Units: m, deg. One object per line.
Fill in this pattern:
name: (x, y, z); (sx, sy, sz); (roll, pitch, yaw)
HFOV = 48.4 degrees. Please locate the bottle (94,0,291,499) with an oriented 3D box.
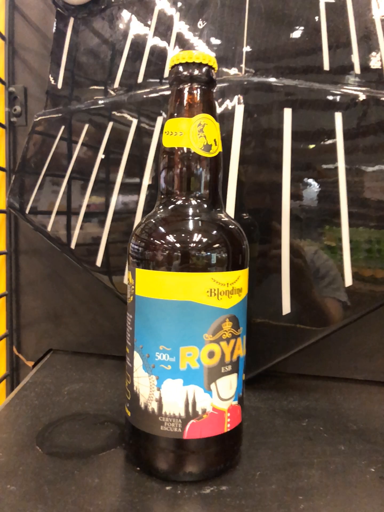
bottle: (-0.002, -0.009, 0.246); (0.080, 0.240, 0.070); (-1, 5, -38)
